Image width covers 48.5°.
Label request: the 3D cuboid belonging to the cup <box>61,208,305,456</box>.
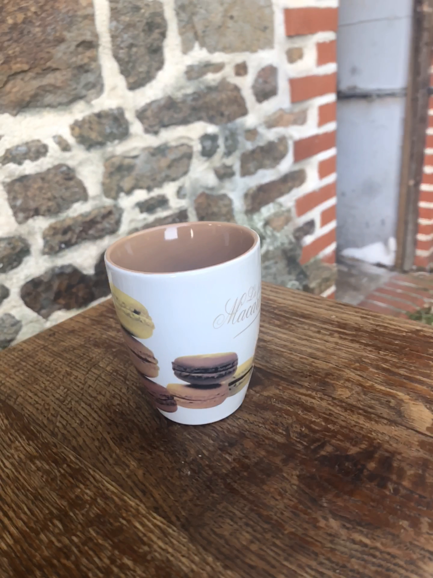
[{"bbox_3d":[-0.009,0.014,0.299,0.093,0.090,0.124,7,29,25],"label":"cup"}]
